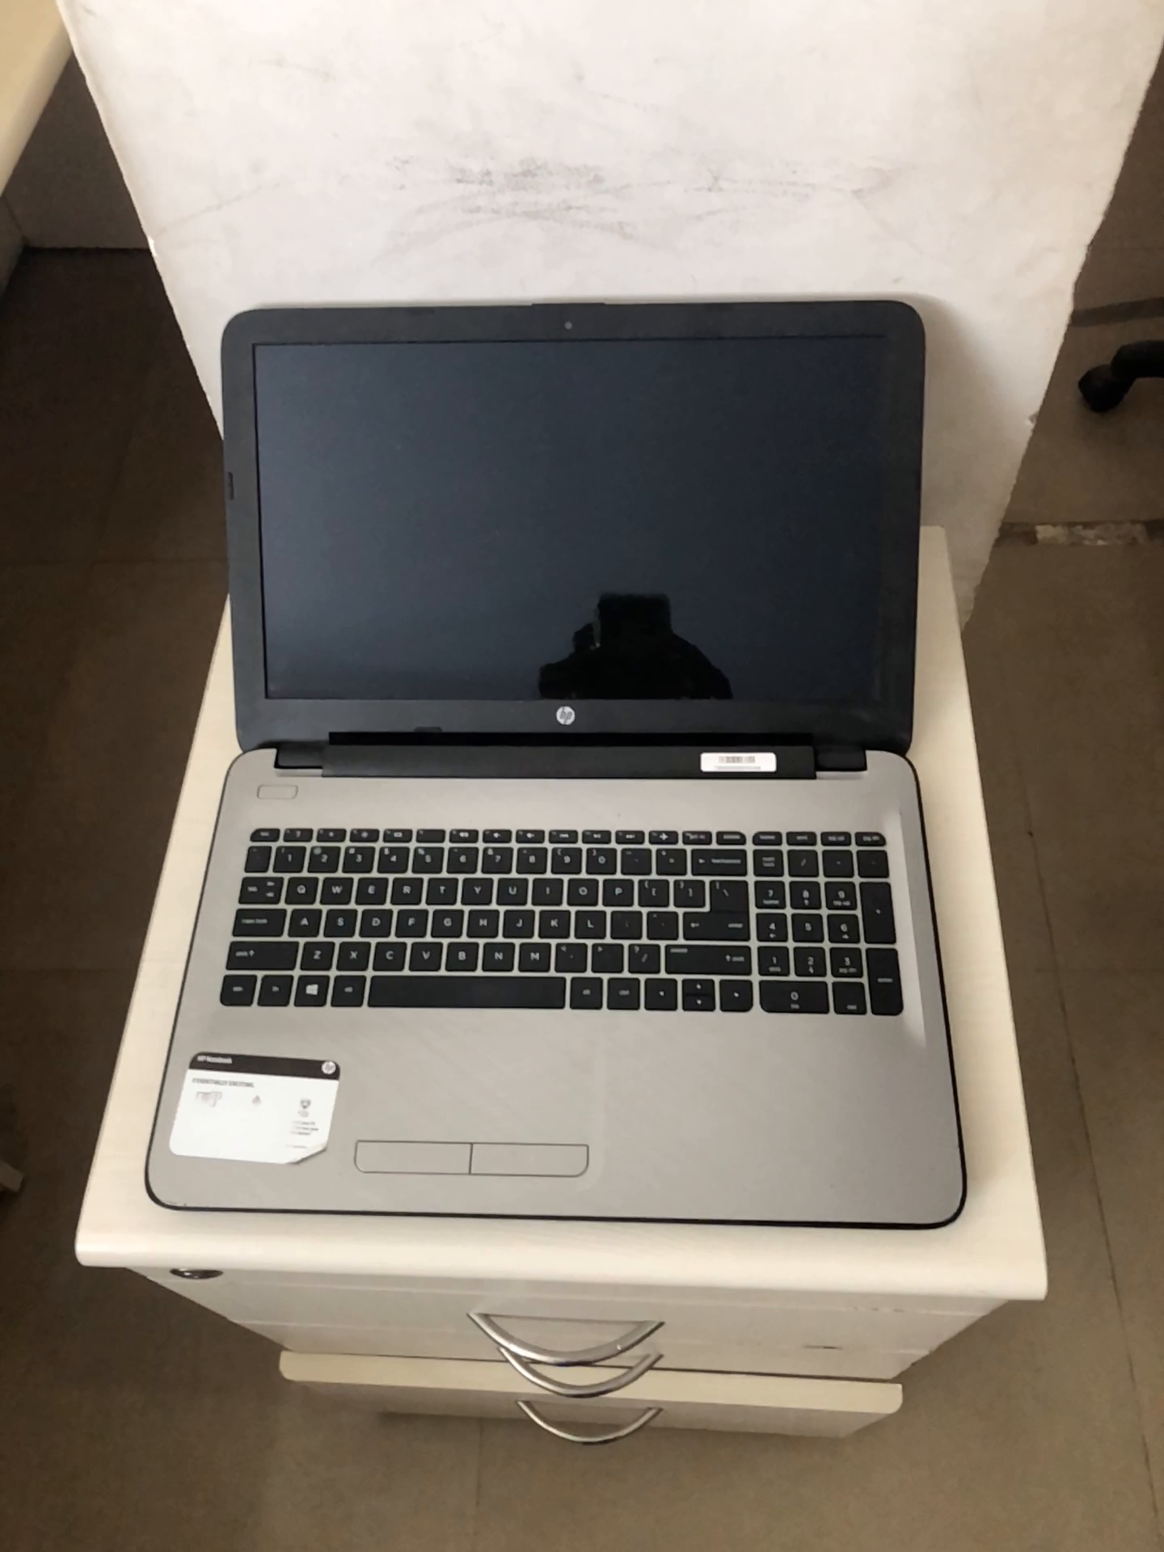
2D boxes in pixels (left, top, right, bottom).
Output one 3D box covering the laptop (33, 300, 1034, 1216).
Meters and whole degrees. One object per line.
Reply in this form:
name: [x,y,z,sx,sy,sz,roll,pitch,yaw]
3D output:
laptop: [-0.011,-0.027,0.624,0.361,0.136,0.427,0,60,3]
